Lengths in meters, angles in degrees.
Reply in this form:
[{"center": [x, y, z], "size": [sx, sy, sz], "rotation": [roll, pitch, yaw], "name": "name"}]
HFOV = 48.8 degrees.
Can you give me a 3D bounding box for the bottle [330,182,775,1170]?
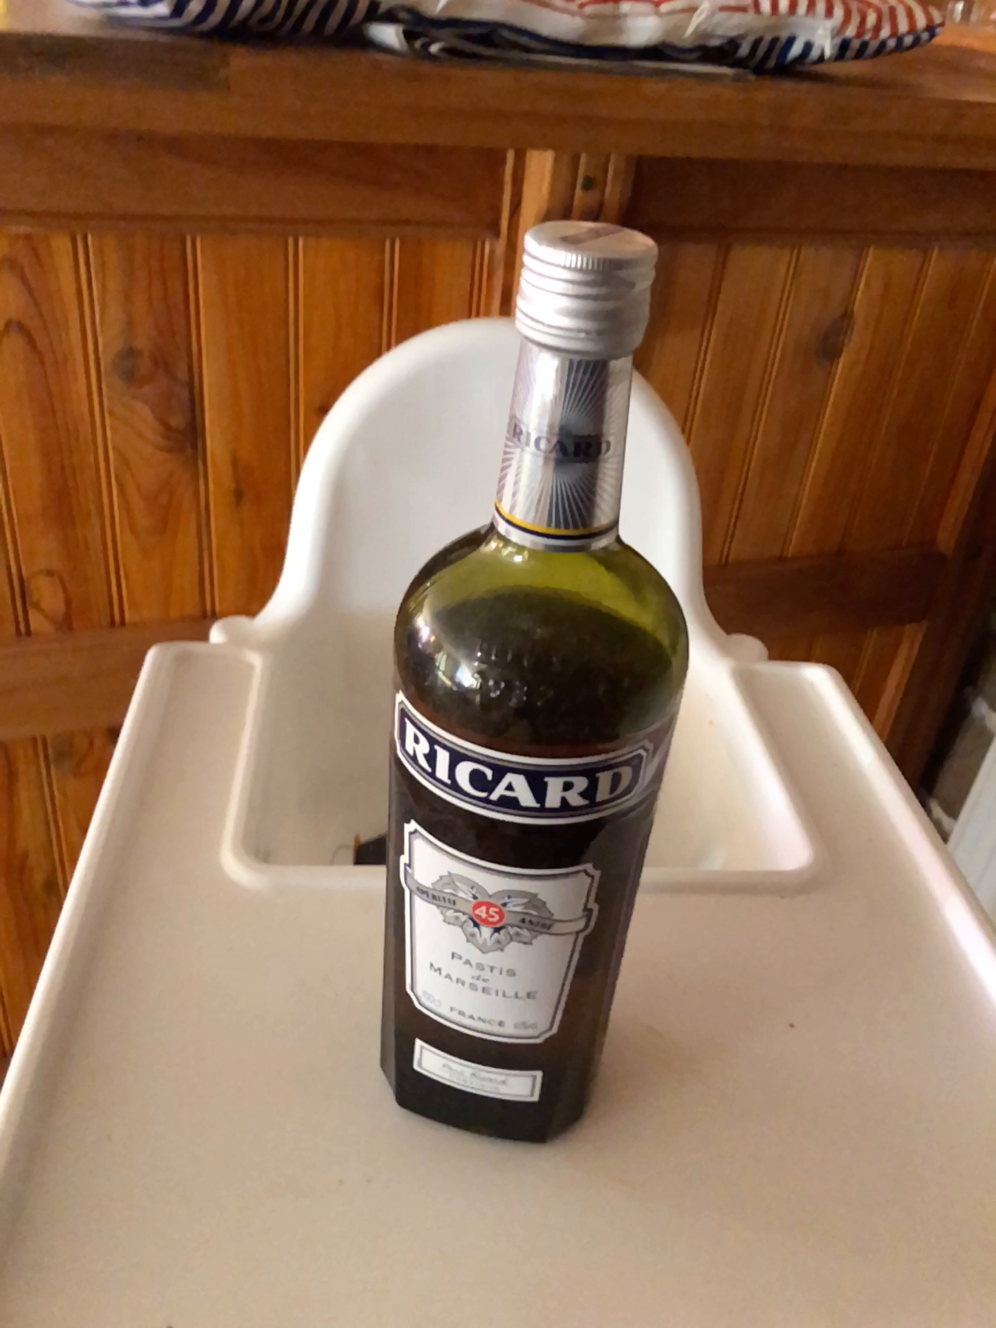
[{"center": [0.005, 0.024, 0.336], "size": [0.090, 0.298, 0.071], "rotation": [12, 33, 9], "name": "bottle"}]
